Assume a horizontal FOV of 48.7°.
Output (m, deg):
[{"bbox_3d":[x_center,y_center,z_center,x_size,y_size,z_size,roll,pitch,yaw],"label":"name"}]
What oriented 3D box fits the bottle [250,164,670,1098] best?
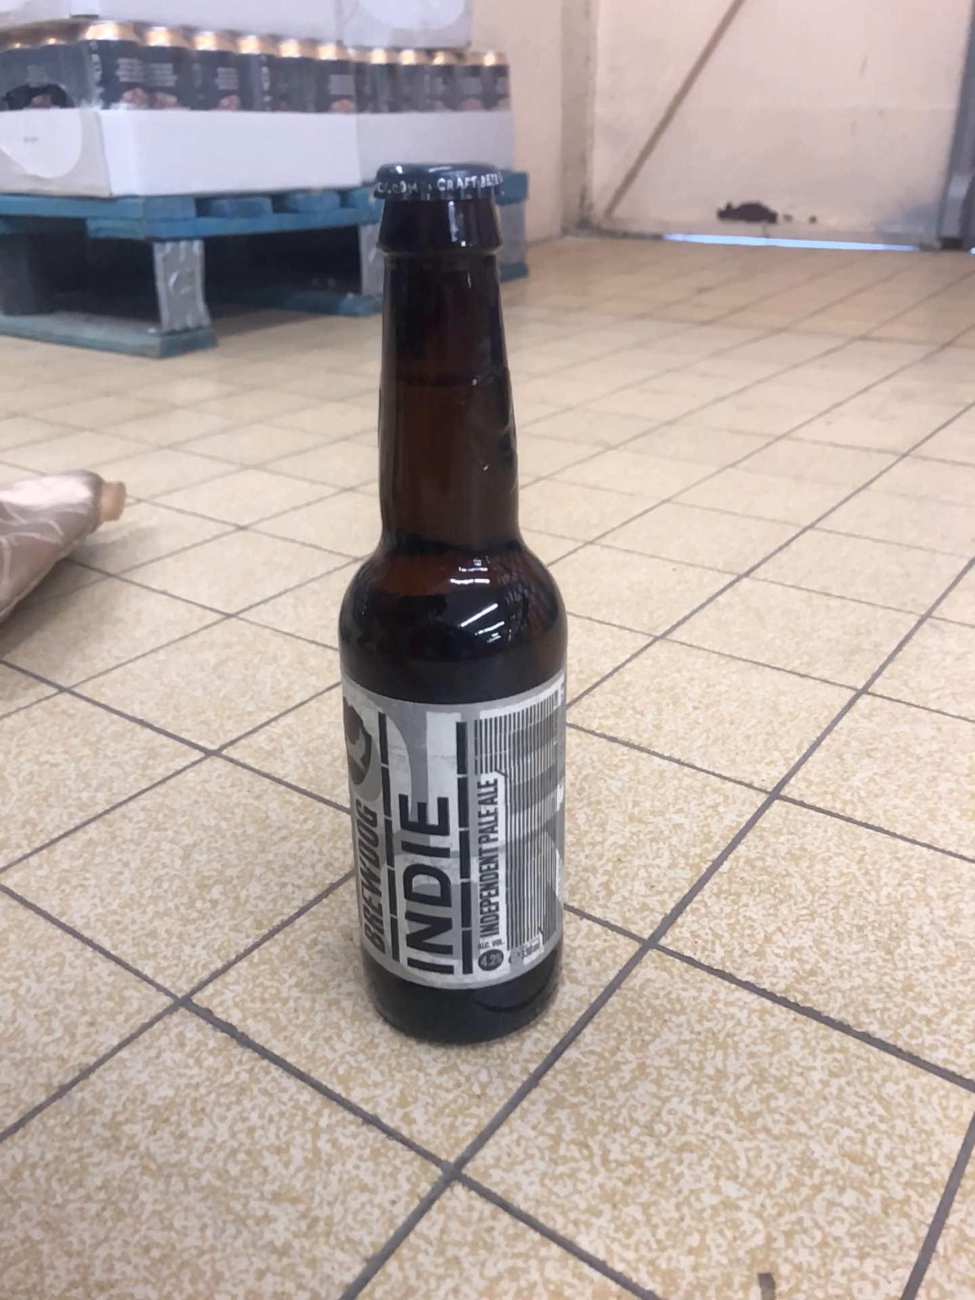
[{"bbox_3d":[-0.001,-0.002,0.277,0.070,0.222,0.070,-1,24,0],"label":"bottle"}]
